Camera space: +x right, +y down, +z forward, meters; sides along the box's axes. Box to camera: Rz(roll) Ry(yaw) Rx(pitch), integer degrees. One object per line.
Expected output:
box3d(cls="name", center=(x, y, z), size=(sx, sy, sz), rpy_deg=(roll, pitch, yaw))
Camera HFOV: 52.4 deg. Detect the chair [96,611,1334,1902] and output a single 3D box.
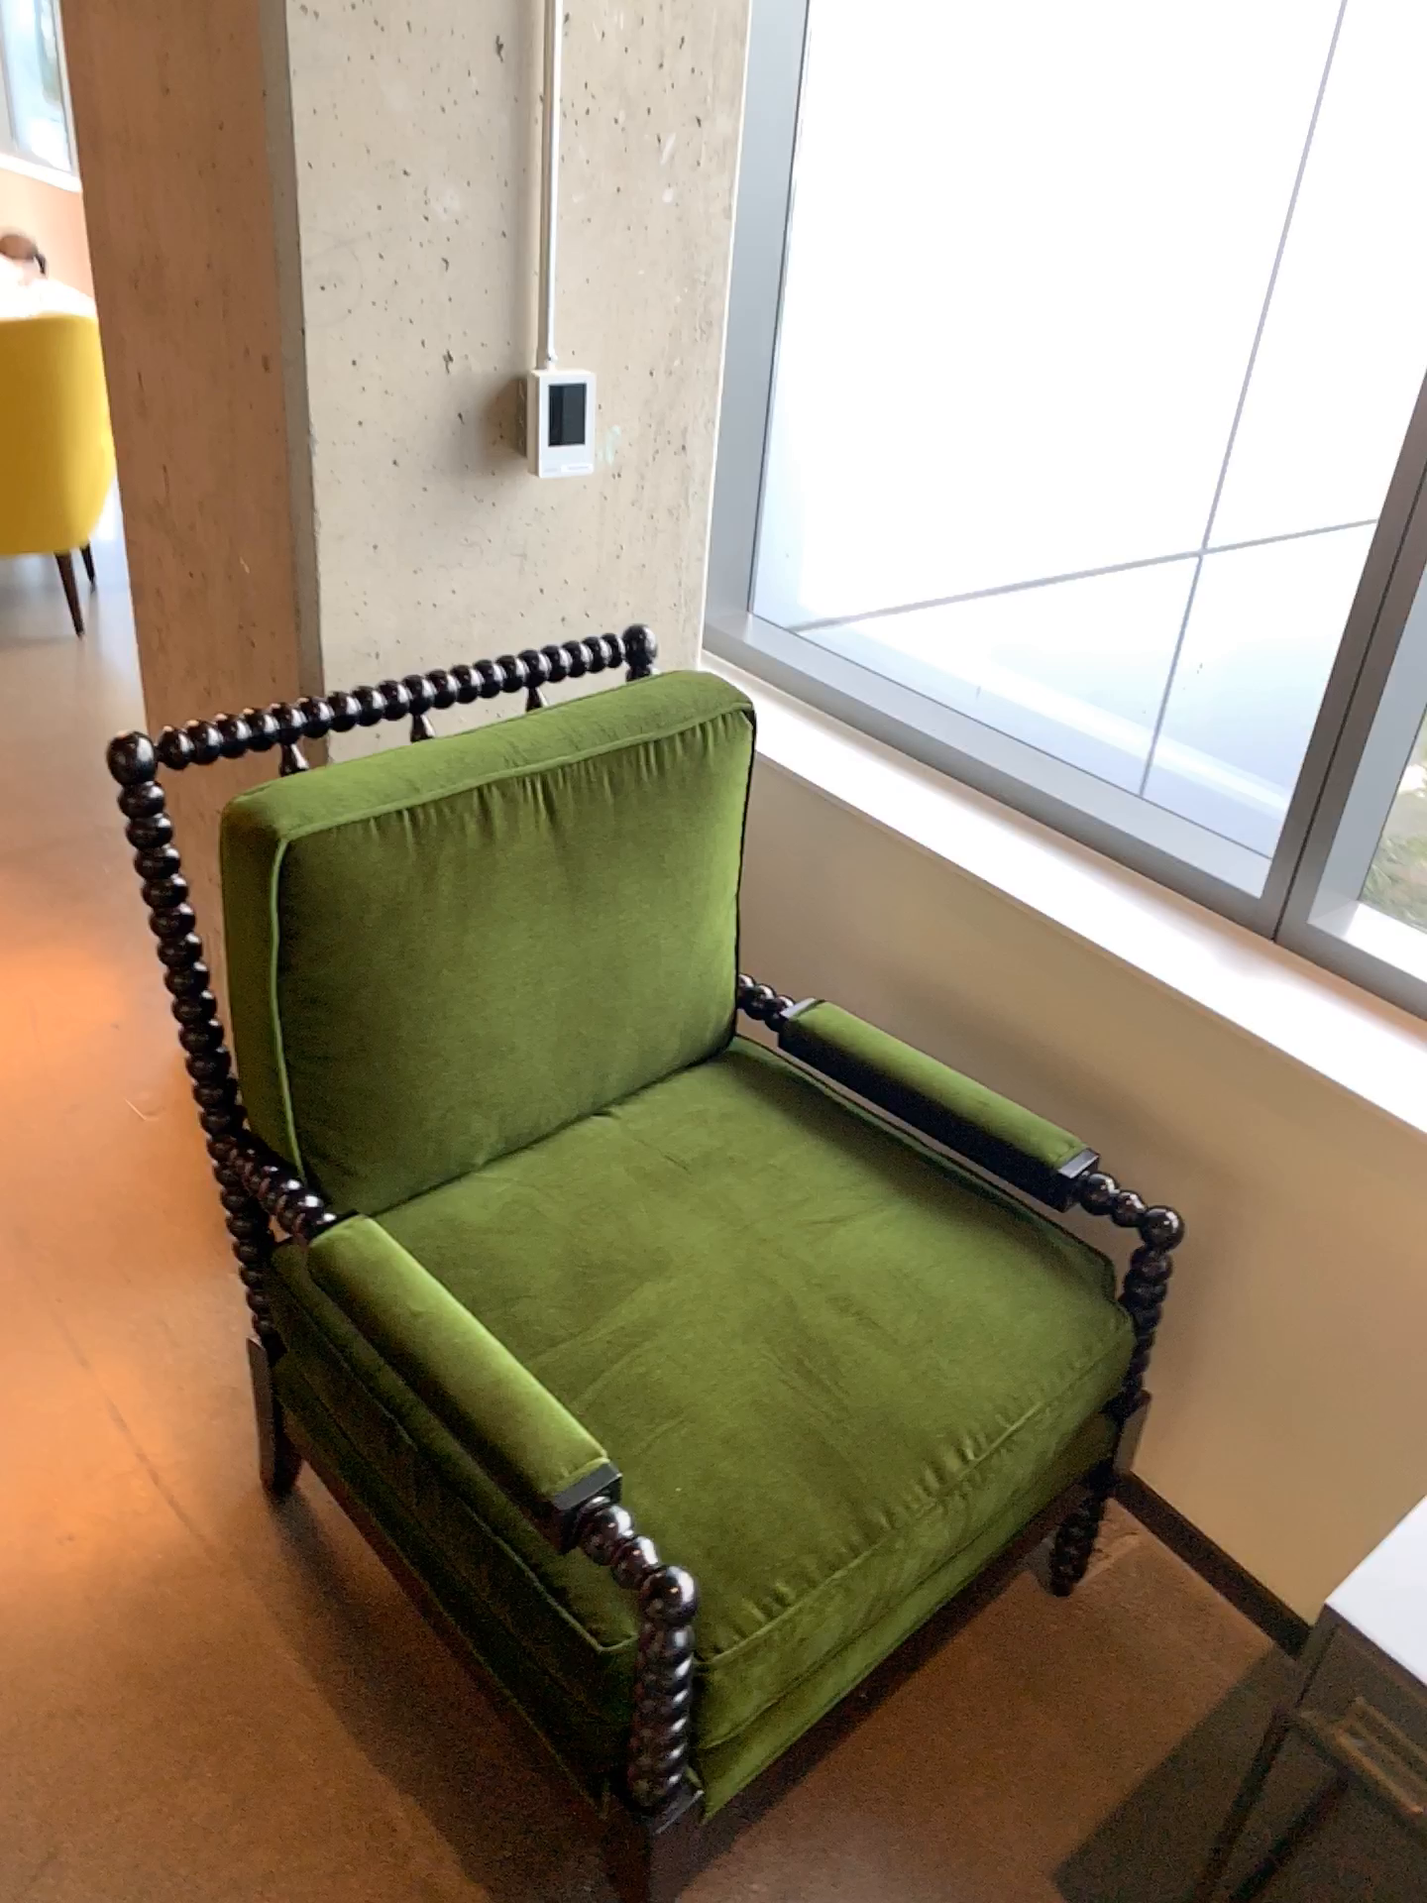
box3d(cls="chair", center=(-0.060, 0.288, 1.602), size=(0.732, 0.974, 0.923), rpy_deg=(-22, 41, -38))
